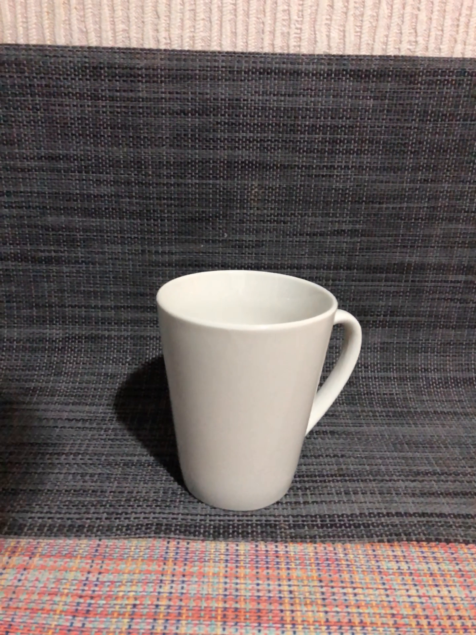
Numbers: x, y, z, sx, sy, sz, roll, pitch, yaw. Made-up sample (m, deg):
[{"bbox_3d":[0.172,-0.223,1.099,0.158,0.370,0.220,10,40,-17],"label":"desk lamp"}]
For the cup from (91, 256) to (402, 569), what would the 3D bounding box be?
[{"bbox_3d":[-0.001,0.032,0.262,0.112,0.096,0.097,-10,23,-30],"label":"cup"}]
